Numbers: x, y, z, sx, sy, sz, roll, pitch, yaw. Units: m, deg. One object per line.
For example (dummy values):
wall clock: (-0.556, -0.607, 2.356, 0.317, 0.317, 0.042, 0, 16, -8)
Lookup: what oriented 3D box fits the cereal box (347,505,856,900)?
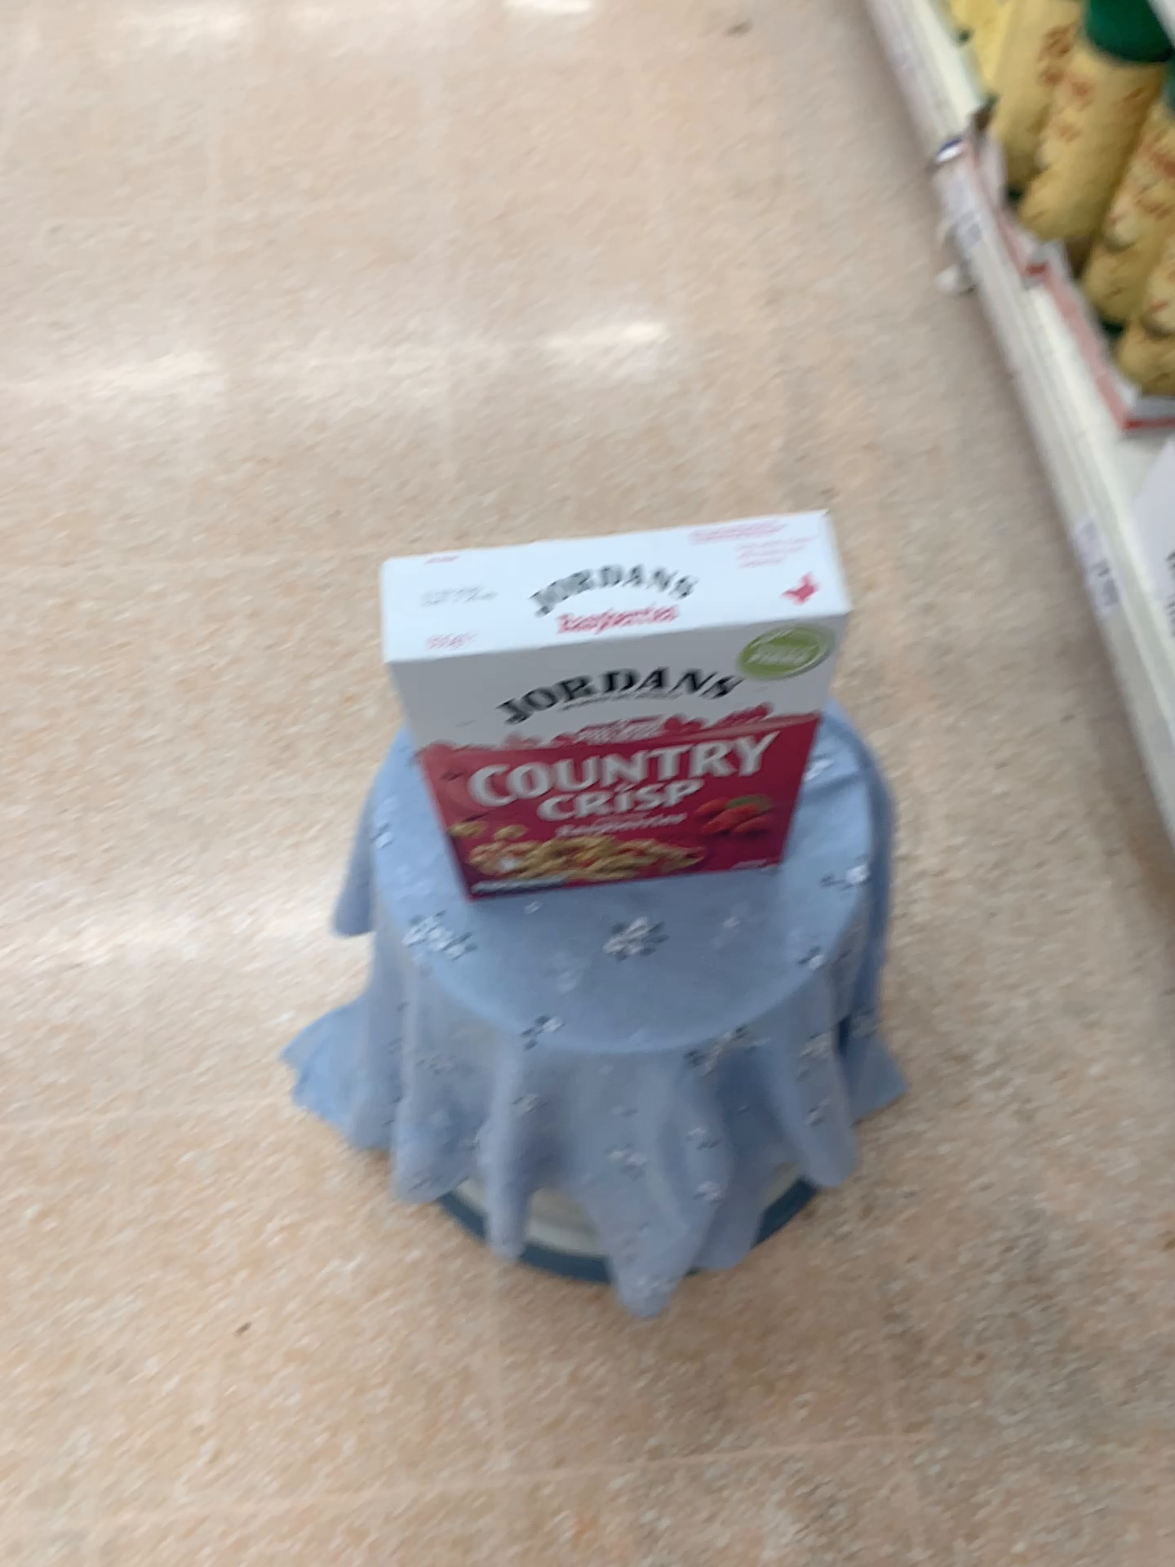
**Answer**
cereal box: (0.005, -0.023, 0.607, 0.200, 0.268, 0.060, -5, 65, -1)
